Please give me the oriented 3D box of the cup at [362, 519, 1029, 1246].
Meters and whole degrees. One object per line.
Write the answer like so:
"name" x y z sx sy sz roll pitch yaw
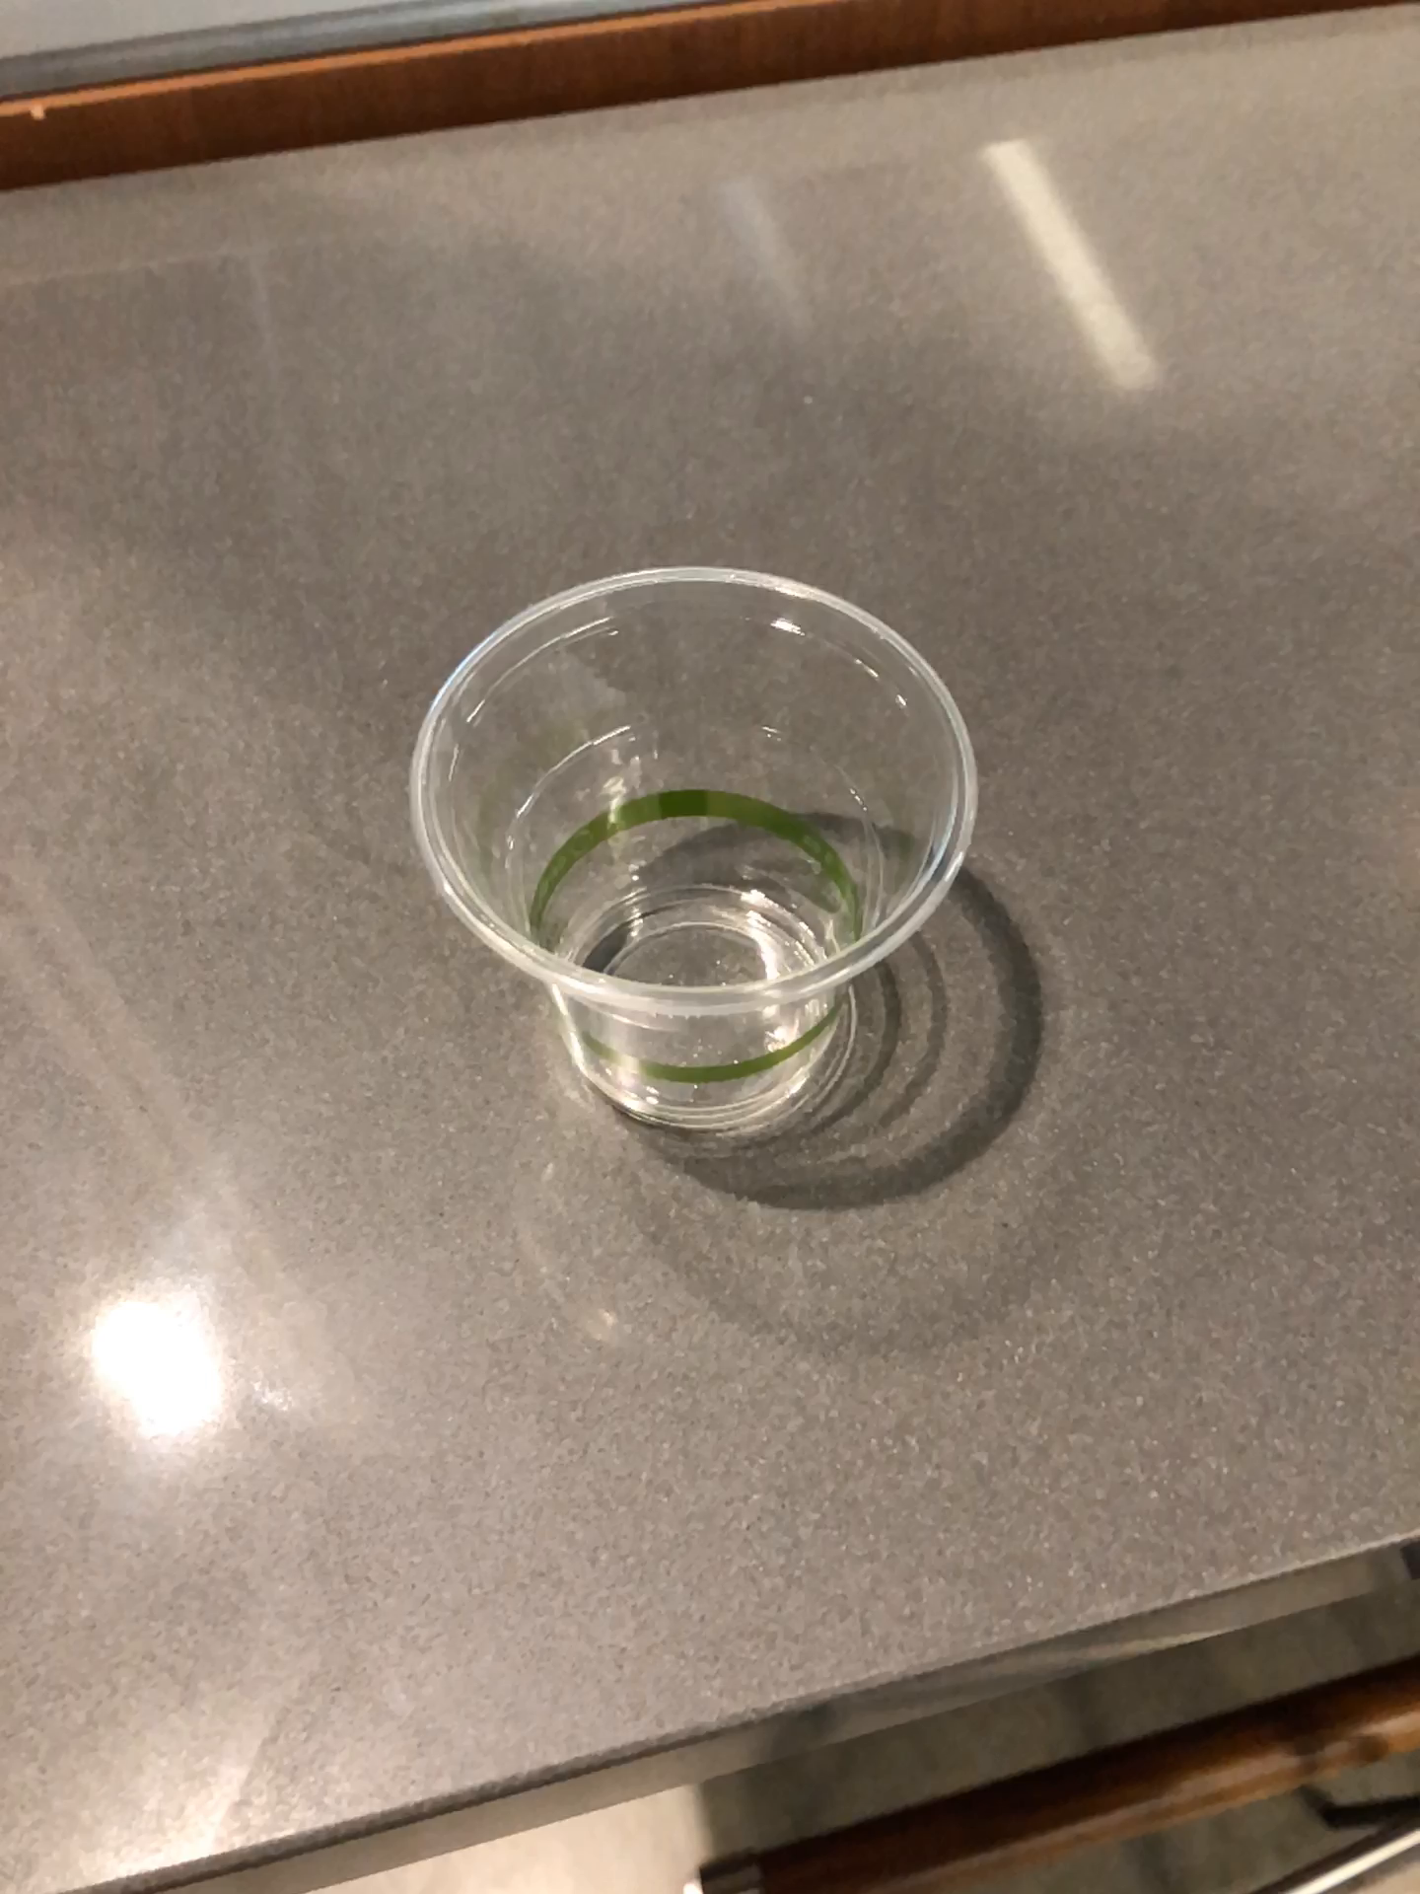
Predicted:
"cup" 0.002 -0.009 0.225 0.070 0.060 0.070 0 55 0
